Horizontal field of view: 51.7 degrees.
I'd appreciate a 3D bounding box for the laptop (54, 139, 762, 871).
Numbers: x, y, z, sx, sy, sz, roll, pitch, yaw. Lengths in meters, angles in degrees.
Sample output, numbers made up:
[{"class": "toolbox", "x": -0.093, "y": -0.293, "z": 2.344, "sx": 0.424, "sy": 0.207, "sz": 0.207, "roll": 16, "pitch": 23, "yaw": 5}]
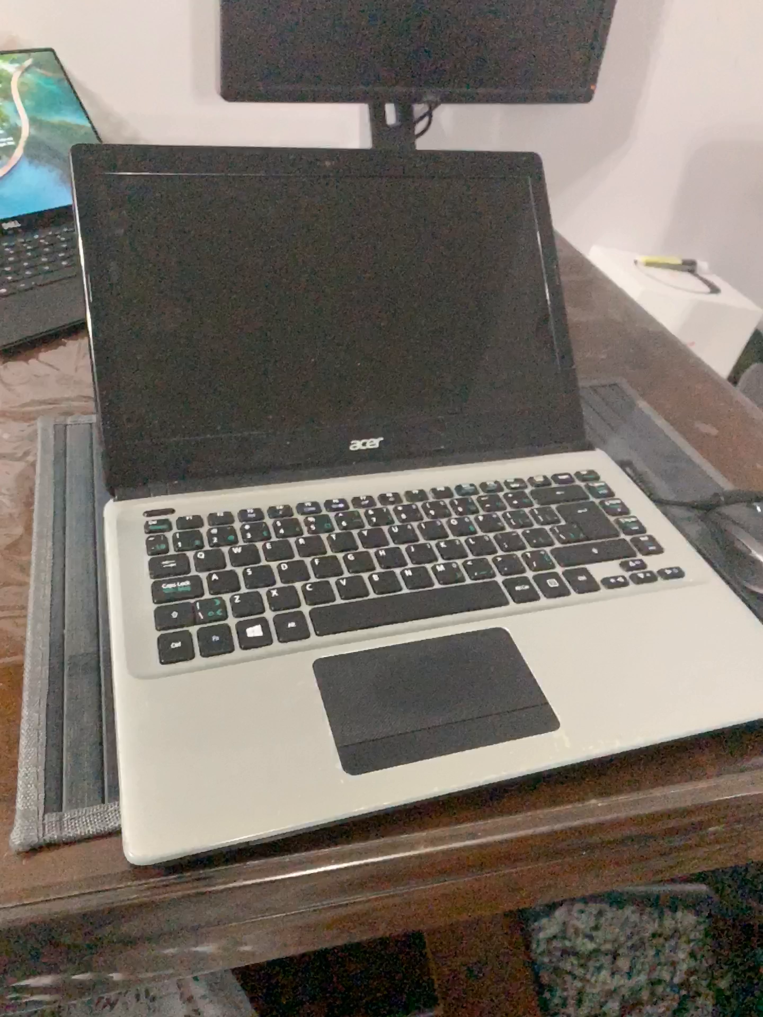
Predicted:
[{"class": "laptop", "x": 0.012, "y": -0.065, "z": 0.431, "sx": 0.330, "sy": 0.146, "sz": 0.387, "roll": -7, "pitch": 40, "yaw": -19}]
